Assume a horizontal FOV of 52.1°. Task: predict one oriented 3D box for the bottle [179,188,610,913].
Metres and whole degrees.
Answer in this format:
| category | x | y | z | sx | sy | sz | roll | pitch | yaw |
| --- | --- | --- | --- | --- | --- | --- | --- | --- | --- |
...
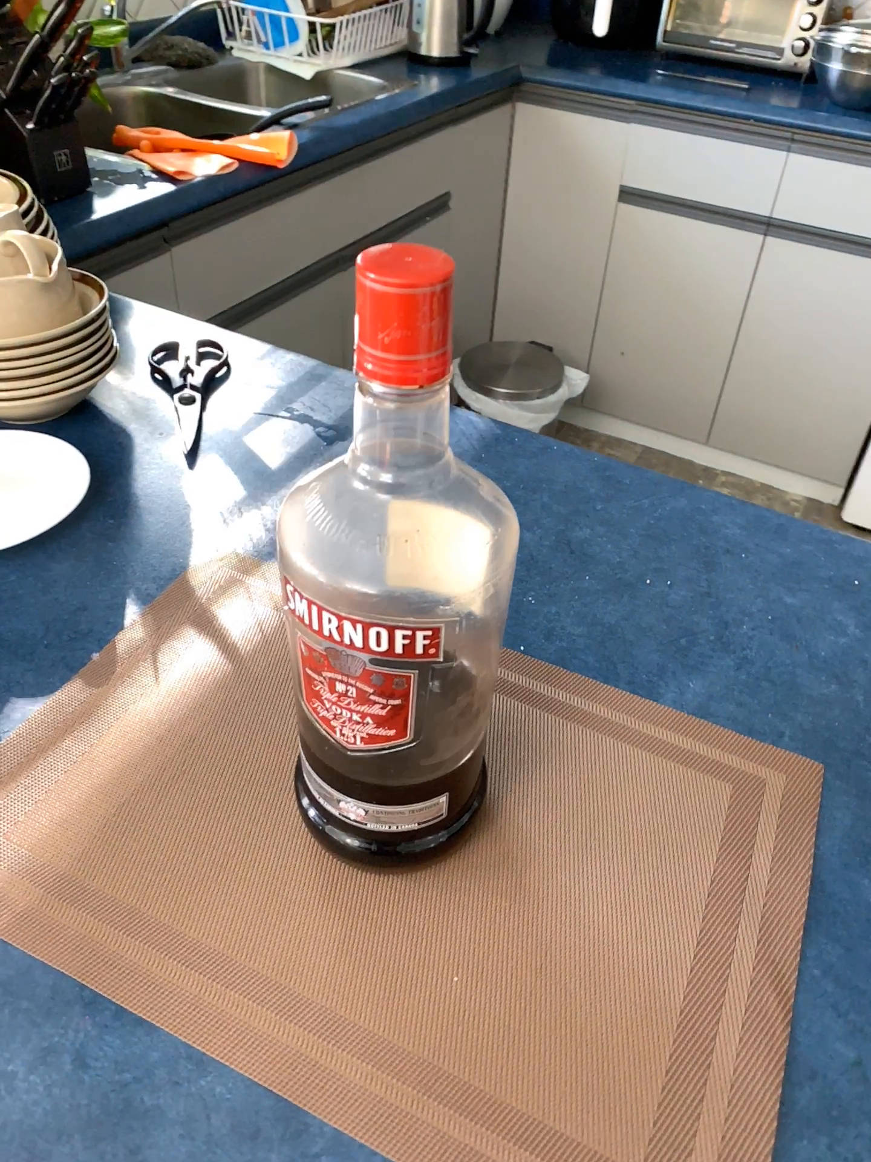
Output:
| category | x | y | z | sx | sy | sz | roll | pitch | yaw |
| --- | --- | --- | --- | --- | --- | --- | --- | --- | --- |
| bottle | -0.017 | 0.003 | 0.425 | 0.120 | 0.317 | 0.111 | 2 | 40 | -2 |
